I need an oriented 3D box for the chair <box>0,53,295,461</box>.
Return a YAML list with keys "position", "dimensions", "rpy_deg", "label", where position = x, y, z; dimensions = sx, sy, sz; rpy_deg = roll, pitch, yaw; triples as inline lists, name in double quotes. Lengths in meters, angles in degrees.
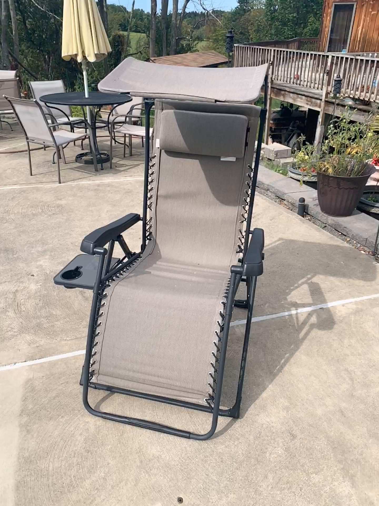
- position: [-0.227, -0.102, 1.487]
  dimensions: [1.063, 1.137, 0.912]
  rpy_deg: [7, 30, 12]
  label: "chair"
